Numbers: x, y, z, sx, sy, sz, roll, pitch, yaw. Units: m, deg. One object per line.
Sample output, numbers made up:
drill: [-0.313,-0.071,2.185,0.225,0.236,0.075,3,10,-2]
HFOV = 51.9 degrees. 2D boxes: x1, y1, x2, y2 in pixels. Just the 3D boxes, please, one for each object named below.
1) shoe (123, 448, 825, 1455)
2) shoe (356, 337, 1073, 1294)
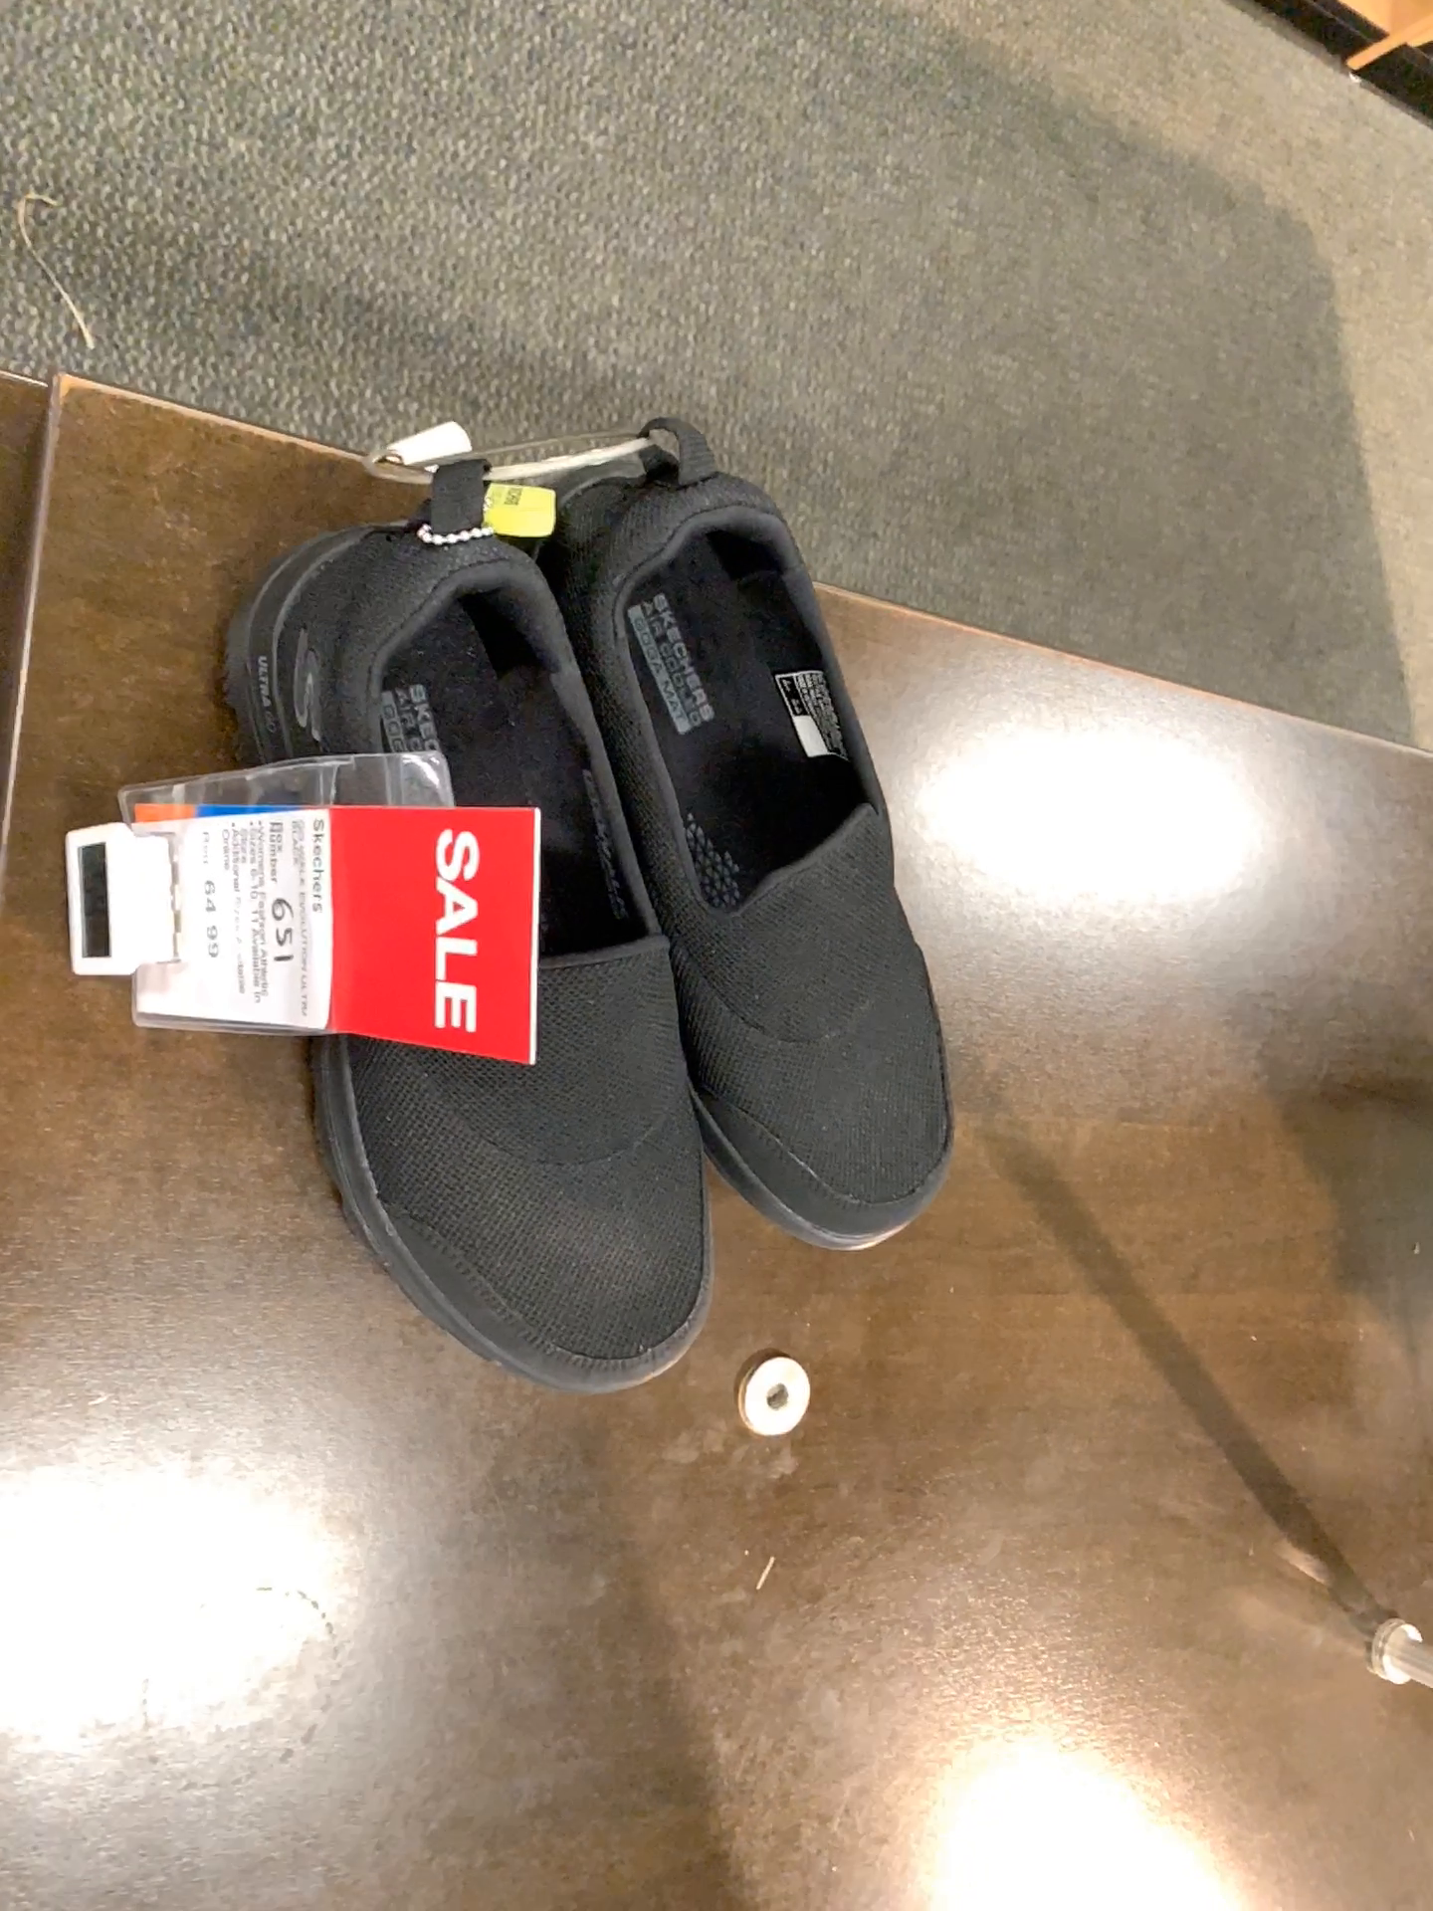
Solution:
shoe: [-0.069,-0.002,0.410,0.094,0.110,0.230,-22,102,-27]
shoe: [0.000,-0.037,0.451,0.094,0.110,0.244,-29,105,-26]
